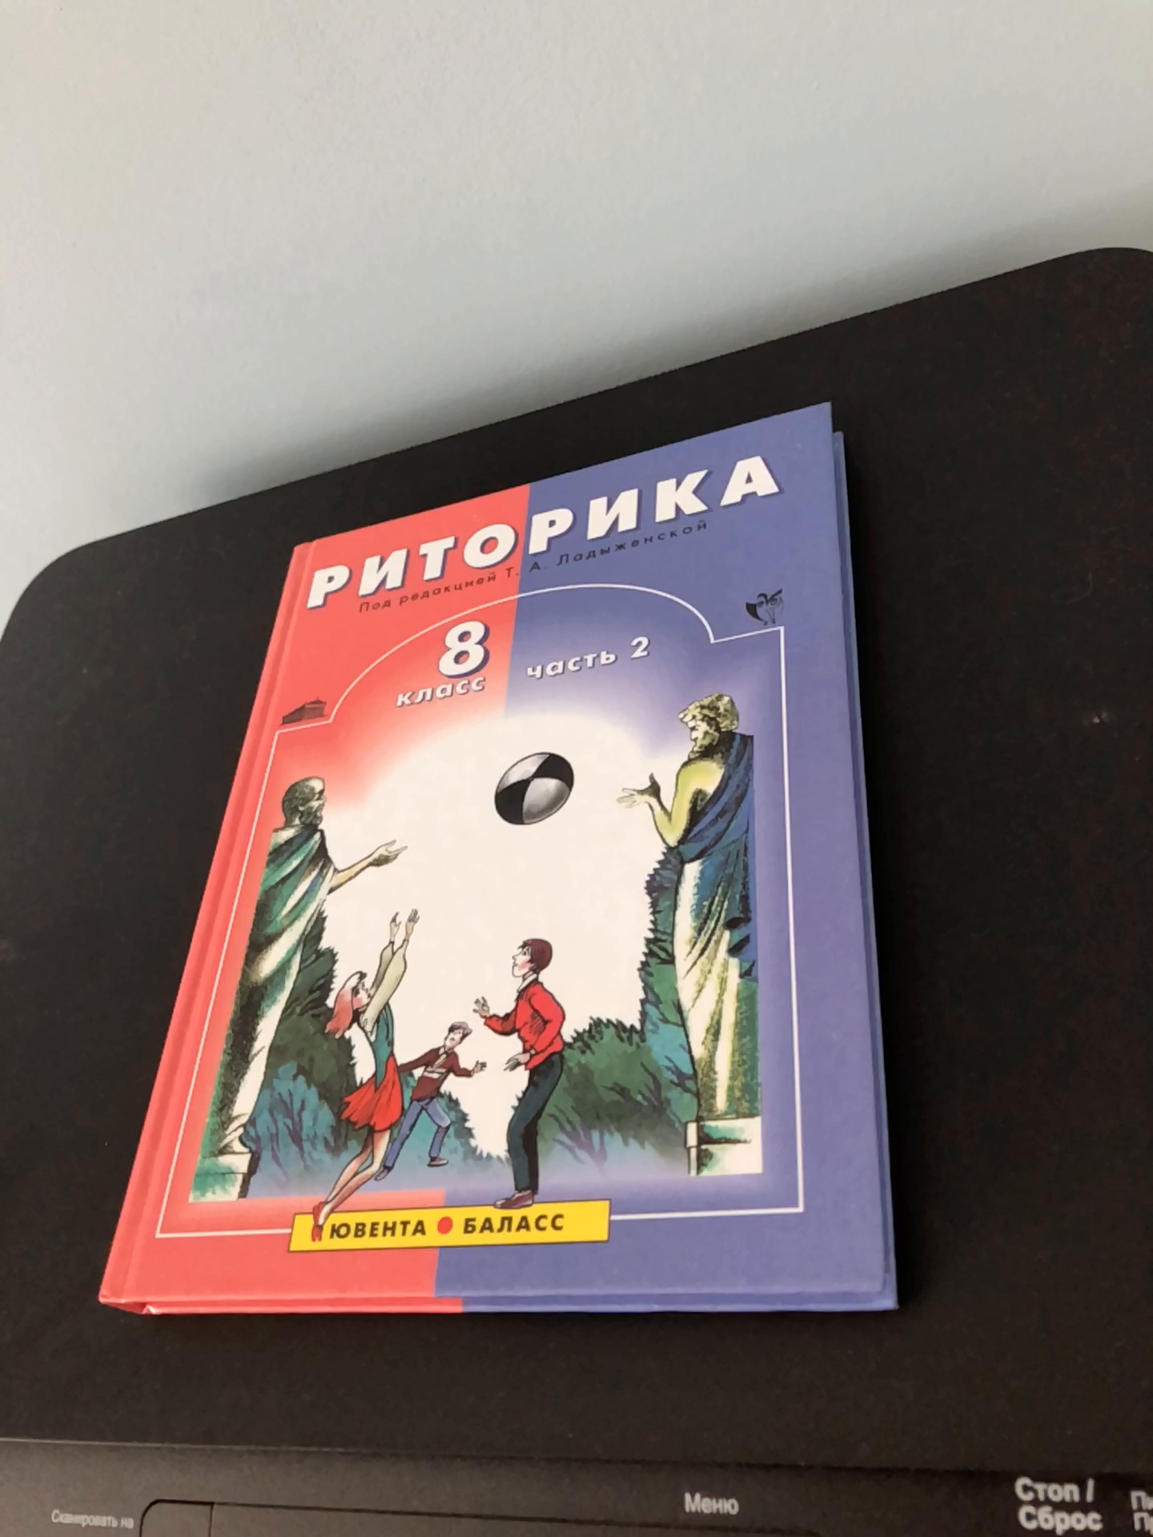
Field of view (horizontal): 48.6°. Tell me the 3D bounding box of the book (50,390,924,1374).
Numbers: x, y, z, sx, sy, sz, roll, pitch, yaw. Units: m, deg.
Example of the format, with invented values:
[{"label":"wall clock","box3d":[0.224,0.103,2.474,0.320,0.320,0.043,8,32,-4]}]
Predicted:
[{"label":"book","box3d":[-0.017,0.016,0.295,0.170,0.020,0.221,-10,54,21]}]
